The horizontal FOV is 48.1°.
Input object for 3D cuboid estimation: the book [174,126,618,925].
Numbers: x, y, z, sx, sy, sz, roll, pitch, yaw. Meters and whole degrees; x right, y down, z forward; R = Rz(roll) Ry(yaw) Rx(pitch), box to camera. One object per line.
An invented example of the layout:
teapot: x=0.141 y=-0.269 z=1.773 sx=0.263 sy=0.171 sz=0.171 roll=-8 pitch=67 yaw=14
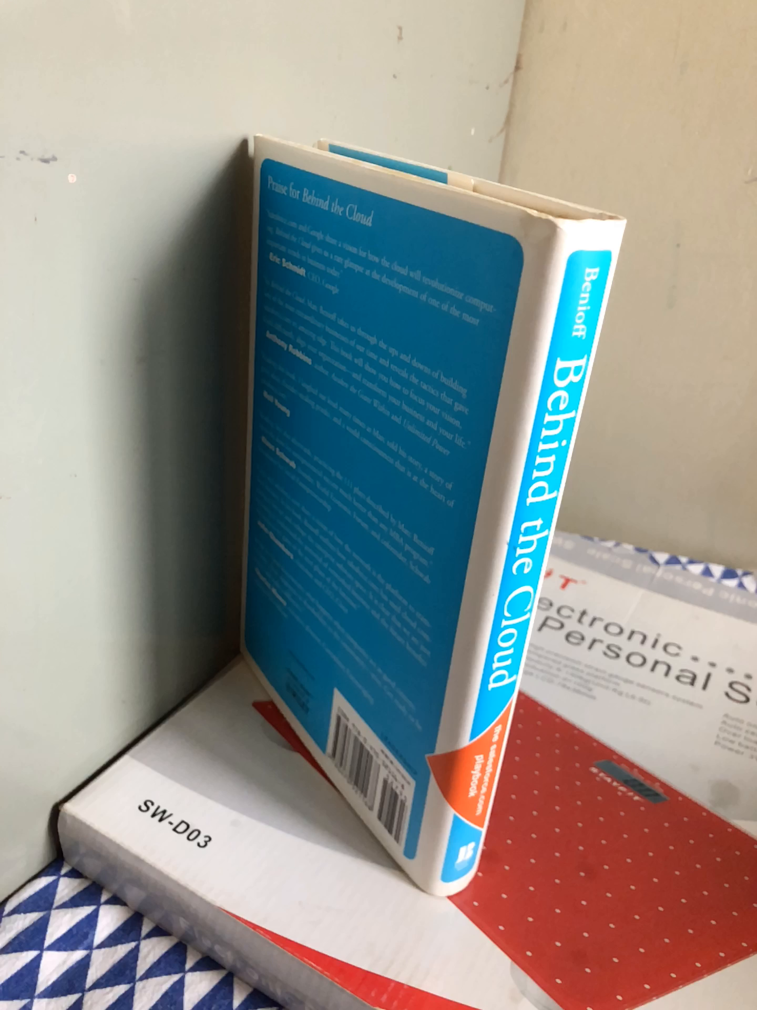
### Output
book: x=-0.017 y=-0.005 z=0.319 sx=0.040 sy=0.239 sz=0.190 roll=-13 pitch=31 yaw=-31
